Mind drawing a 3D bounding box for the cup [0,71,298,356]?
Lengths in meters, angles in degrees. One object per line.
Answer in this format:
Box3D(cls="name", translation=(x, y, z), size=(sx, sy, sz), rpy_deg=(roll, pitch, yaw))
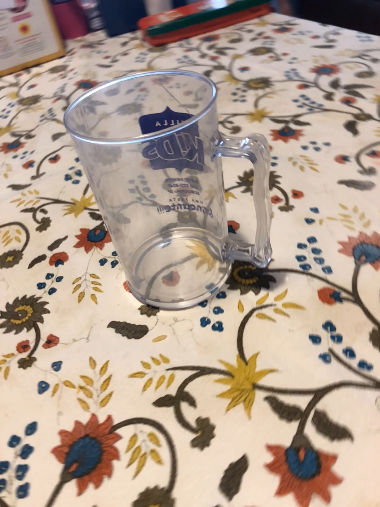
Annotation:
Box3D(cls="cup", translation=(-0.008, -0.023, 0.222), size=(0.110, 0.109, 0.080), rpy_deg=(9, 47, 20))
